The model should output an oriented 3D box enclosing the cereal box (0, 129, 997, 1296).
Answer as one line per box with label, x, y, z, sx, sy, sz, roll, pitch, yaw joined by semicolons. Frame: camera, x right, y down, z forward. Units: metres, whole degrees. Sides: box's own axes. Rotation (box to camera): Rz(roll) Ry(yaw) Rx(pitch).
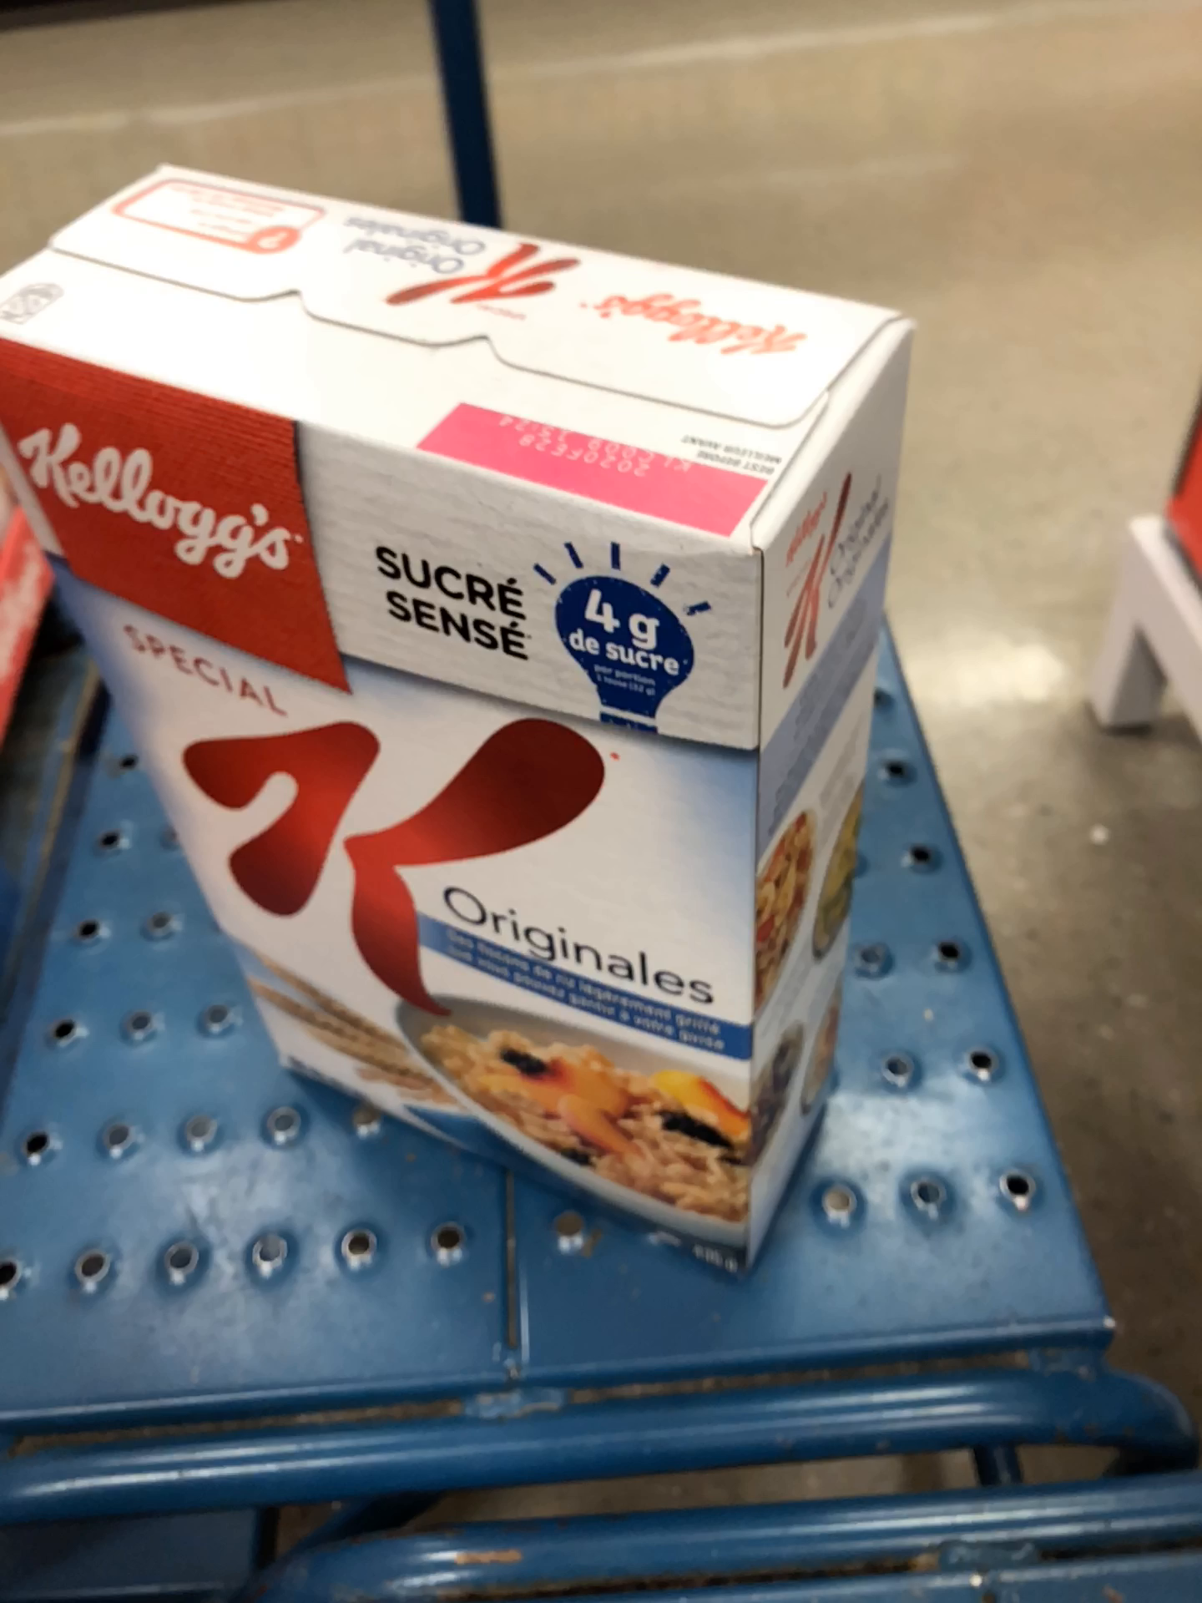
cereal box;-0.026;-0.005;0.379;0.210;0.299;0.080;19;52;22
